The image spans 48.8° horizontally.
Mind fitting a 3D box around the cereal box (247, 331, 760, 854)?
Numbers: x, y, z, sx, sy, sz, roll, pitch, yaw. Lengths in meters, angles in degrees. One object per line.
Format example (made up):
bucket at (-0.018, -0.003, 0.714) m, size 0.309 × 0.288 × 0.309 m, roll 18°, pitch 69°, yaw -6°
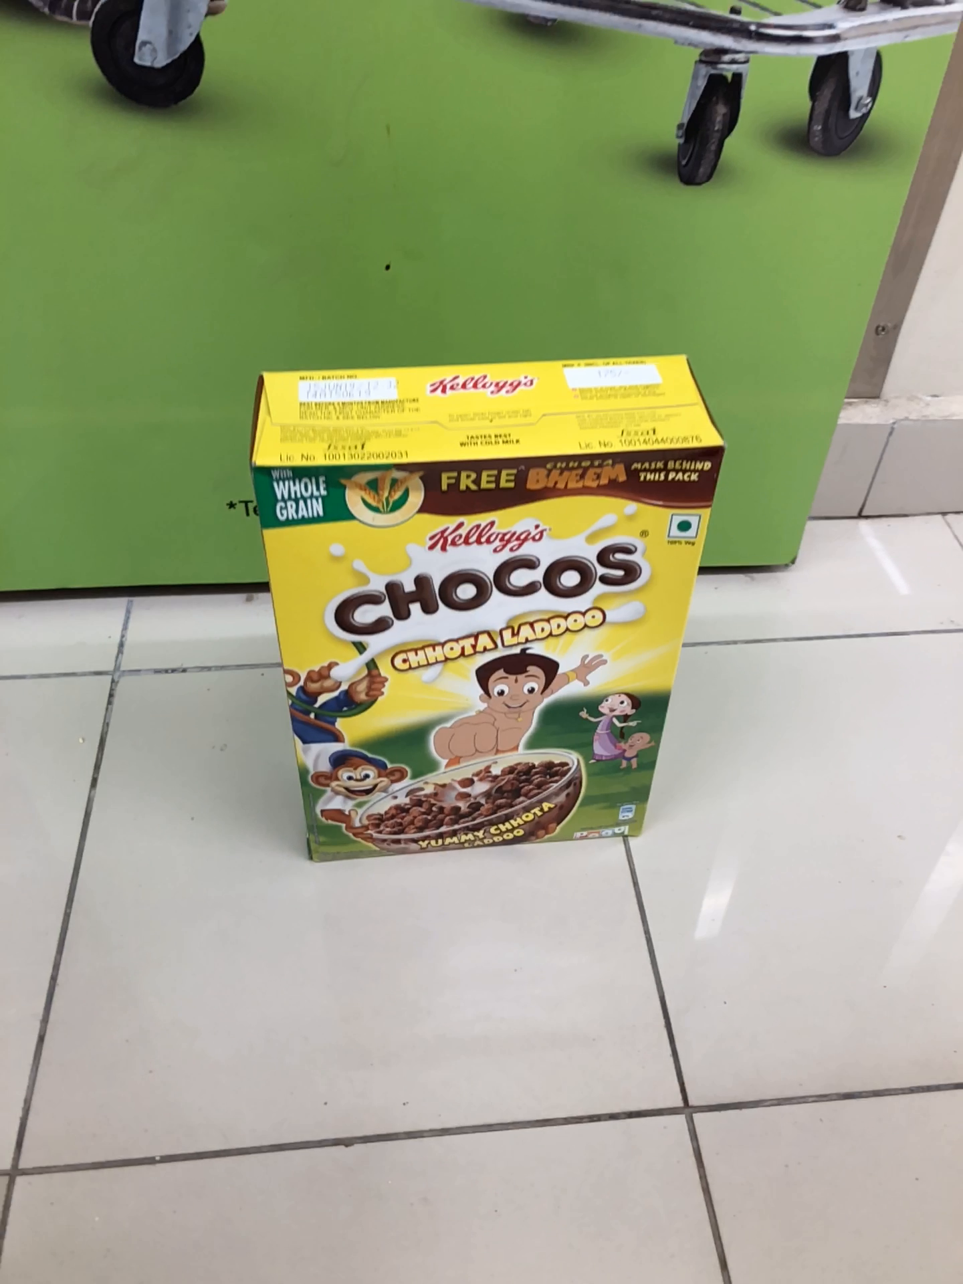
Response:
cereal box at (0.002, -0.010, 0.505) m, size 0.190 × 0.258 × 0.070 m, roll -3°, pitch 44°, yaw -6°
